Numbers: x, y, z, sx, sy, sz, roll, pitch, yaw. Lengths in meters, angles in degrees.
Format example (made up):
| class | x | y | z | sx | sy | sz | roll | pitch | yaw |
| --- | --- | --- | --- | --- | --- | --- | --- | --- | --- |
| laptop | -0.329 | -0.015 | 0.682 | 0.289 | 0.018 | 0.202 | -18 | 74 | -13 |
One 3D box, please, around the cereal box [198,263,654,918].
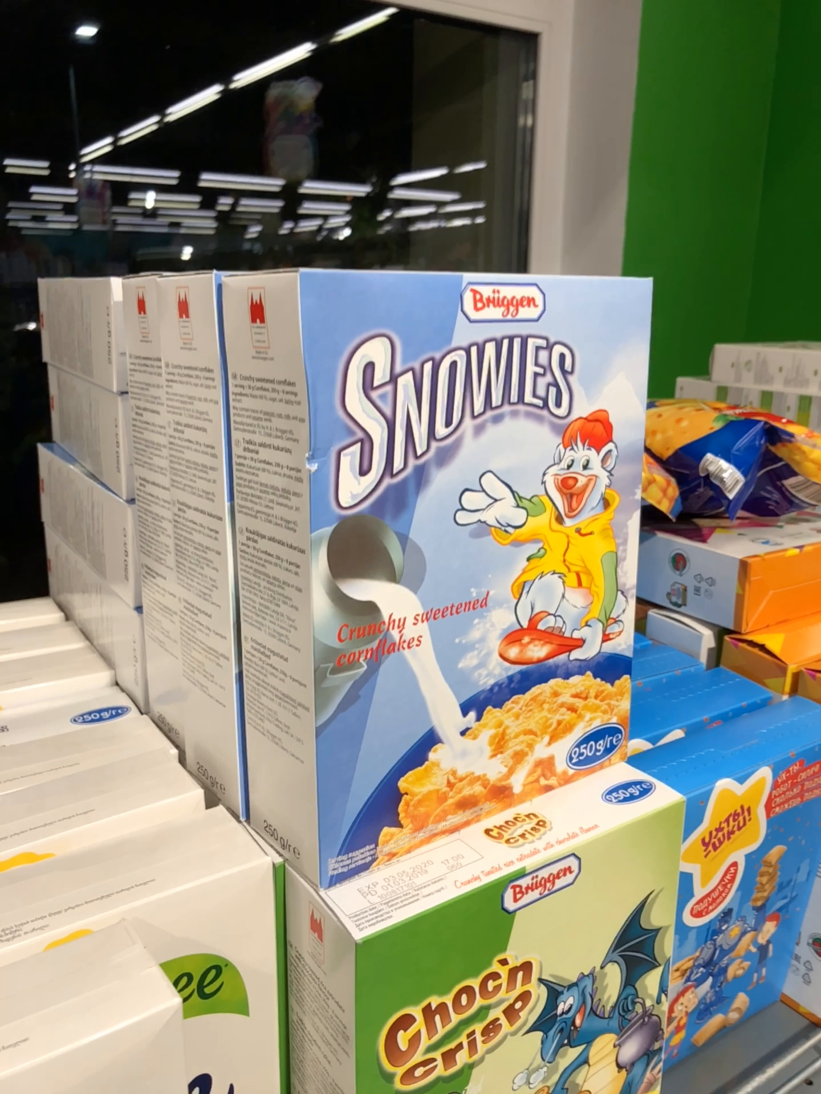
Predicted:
| class | x | y | z | sx | sy | sz | roll | pitch | yaw |
| --- | --- | --- | --- | --- | --- | --- | --- | --- | --- |
| cereal box | 0.016 | 0.006 | 0.430 | 0.200 | 0.259 | 0.070 | -10 | 17 | -35 |
